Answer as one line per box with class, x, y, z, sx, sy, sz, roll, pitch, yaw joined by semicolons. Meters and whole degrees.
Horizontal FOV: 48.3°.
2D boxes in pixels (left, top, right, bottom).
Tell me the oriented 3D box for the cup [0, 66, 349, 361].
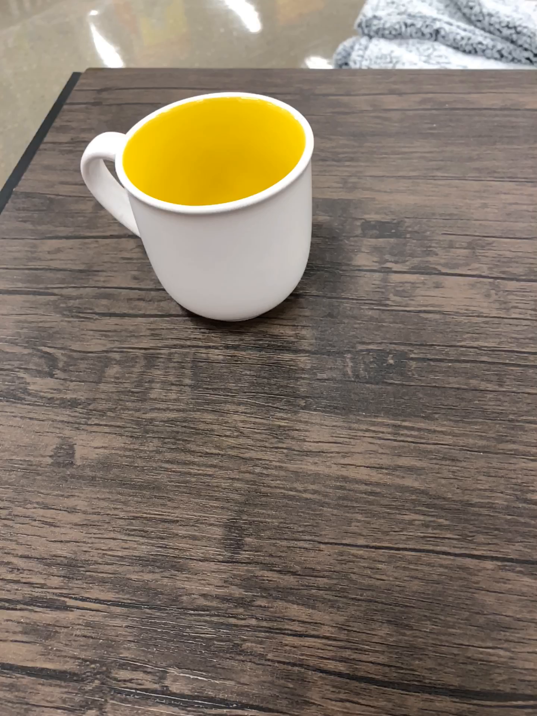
cup;-0.040;-0.080;0.322;0.140;0.090;0.100;14;55;15
